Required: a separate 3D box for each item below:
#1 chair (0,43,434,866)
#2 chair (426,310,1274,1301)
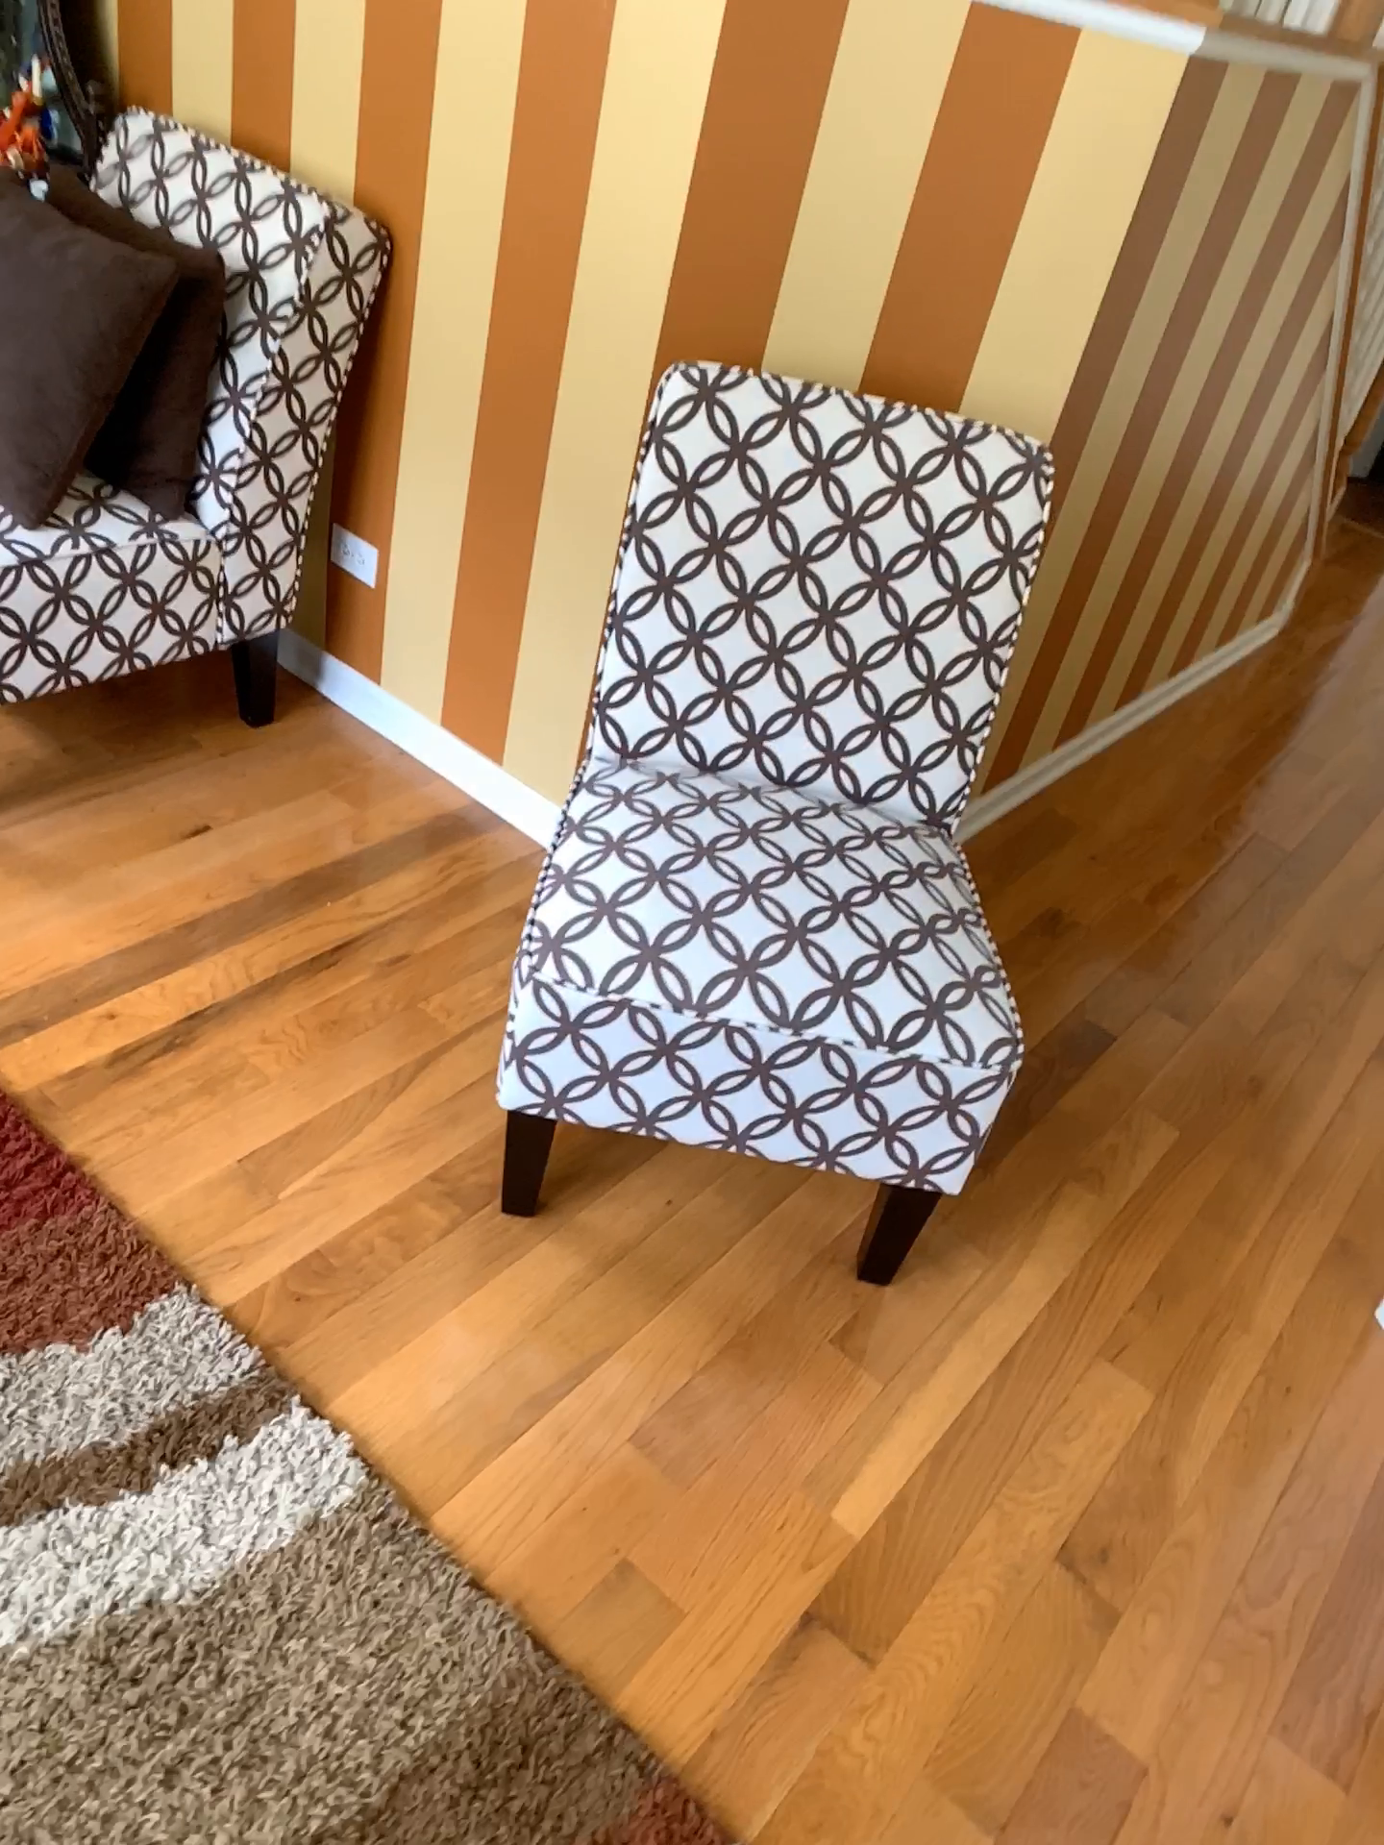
[{"bbox_3d":[-0.923,-0.696,2.062,0.592,0.833,0.801,33,38,24],"label":"chair"},{"bbox_3d":[0.116,-0.161,1.641,0.621,0.774,0.742,12,34,-3],"label":"chair"}]
